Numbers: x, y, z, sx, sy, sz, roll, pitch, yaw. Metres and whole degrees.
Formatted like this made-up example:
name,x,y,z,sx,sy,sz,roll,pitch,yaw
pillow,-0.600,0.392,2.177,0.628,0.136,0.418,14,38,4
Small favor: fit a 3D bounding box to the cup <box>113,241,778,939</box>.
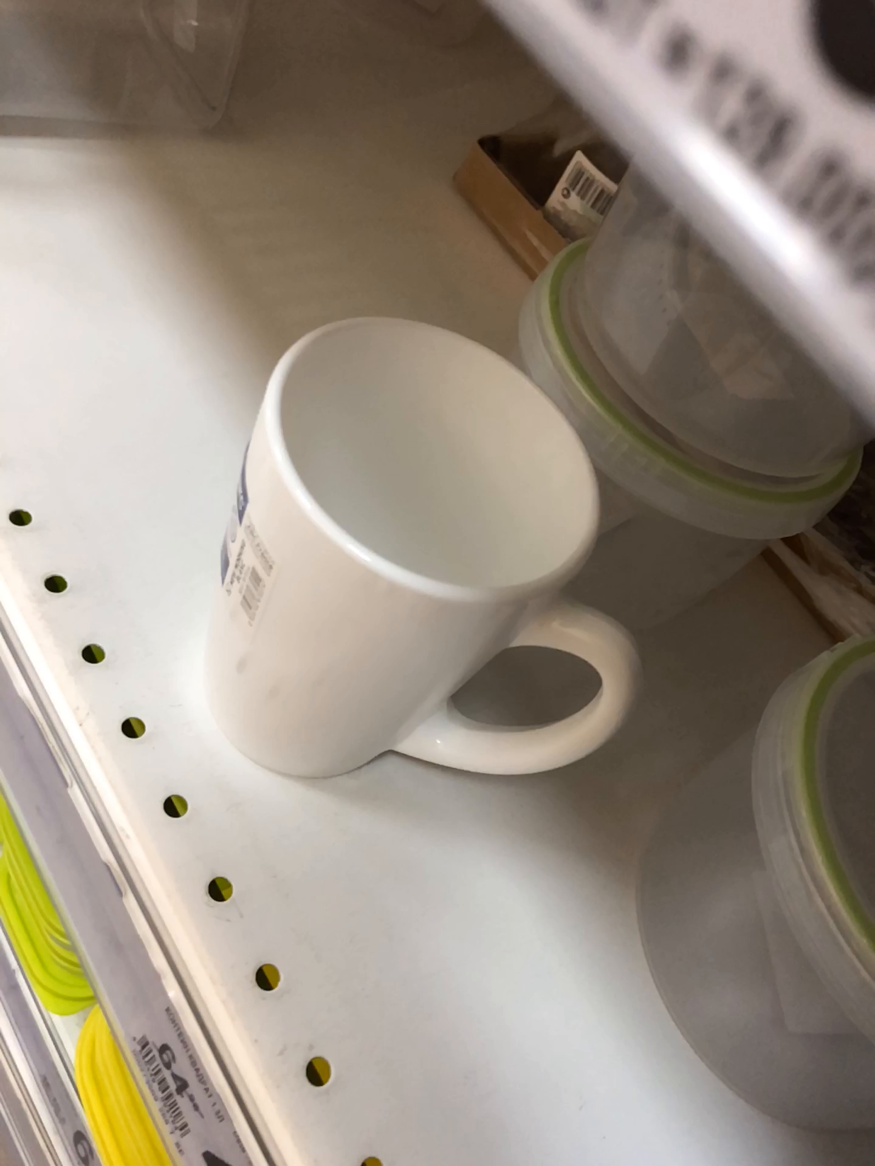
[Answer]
name,x,y,z,sx,sy,sz,roll,pitch,yaw
cup,-0.008,0.004,0.249,0.120,0.107,0.079,46,51,11
